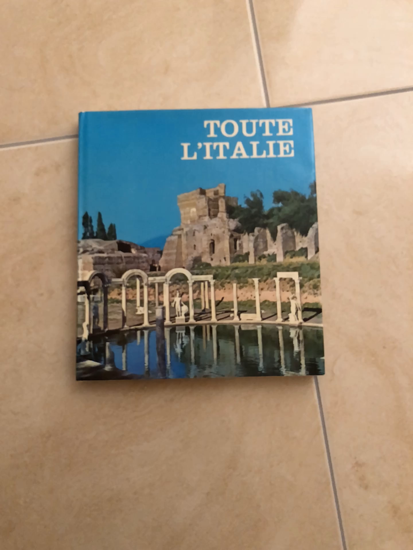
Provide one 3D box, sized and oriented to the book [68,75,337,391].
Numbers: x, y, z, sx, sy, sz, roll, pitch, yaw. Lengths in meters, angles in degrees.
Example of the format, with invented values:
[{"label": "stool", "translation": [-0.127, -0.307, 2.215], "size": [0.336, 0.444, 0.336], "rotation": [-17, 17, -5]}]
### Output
[{"label": "book", "translation": [-0.007, -0.042, 0.449], "size": [0.240, 0.050, 0.290], "rotation": [-2, 84, -1]}]
